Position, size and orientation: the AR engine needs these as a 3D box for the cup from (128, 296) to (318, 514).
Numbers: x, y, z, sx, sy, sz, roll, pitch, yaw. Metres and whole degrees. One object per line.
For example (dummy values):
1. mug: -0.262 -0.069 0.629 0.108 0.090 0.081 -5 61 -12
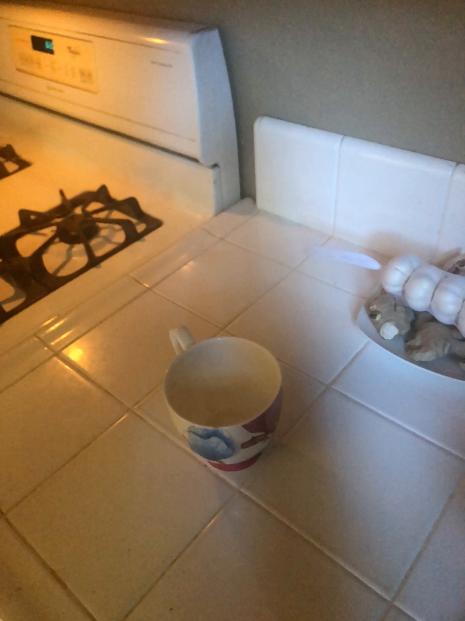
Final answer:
1. cup: -0.012 0.083 0.505 0.100 0.089 0.171 -26 45 -22
